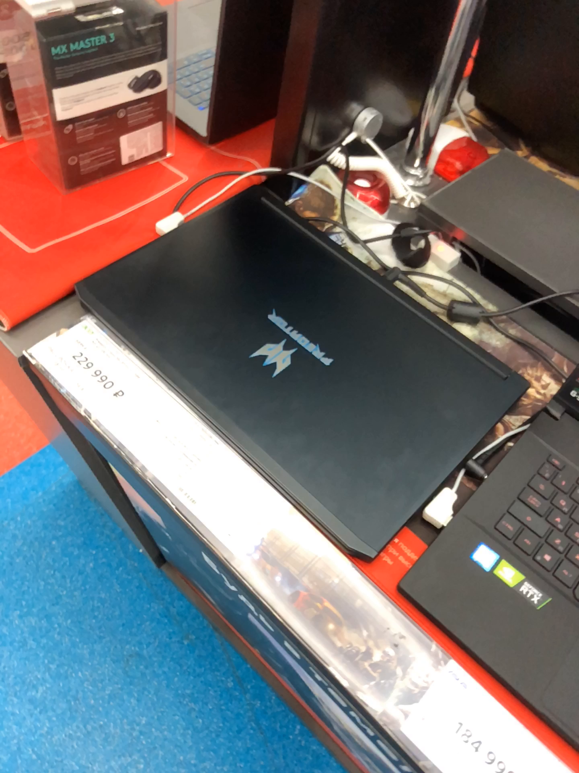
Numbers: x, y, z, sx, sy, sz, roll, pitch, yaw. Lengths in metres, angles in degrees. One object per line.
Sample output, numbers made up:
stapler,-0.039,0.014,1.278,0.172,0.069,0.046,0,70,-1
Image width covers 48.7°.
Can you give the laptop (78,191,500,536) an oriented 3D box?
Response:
laptop,-0.001,-0.051,0.622,0.354,0.006,0.222,40,59,18
